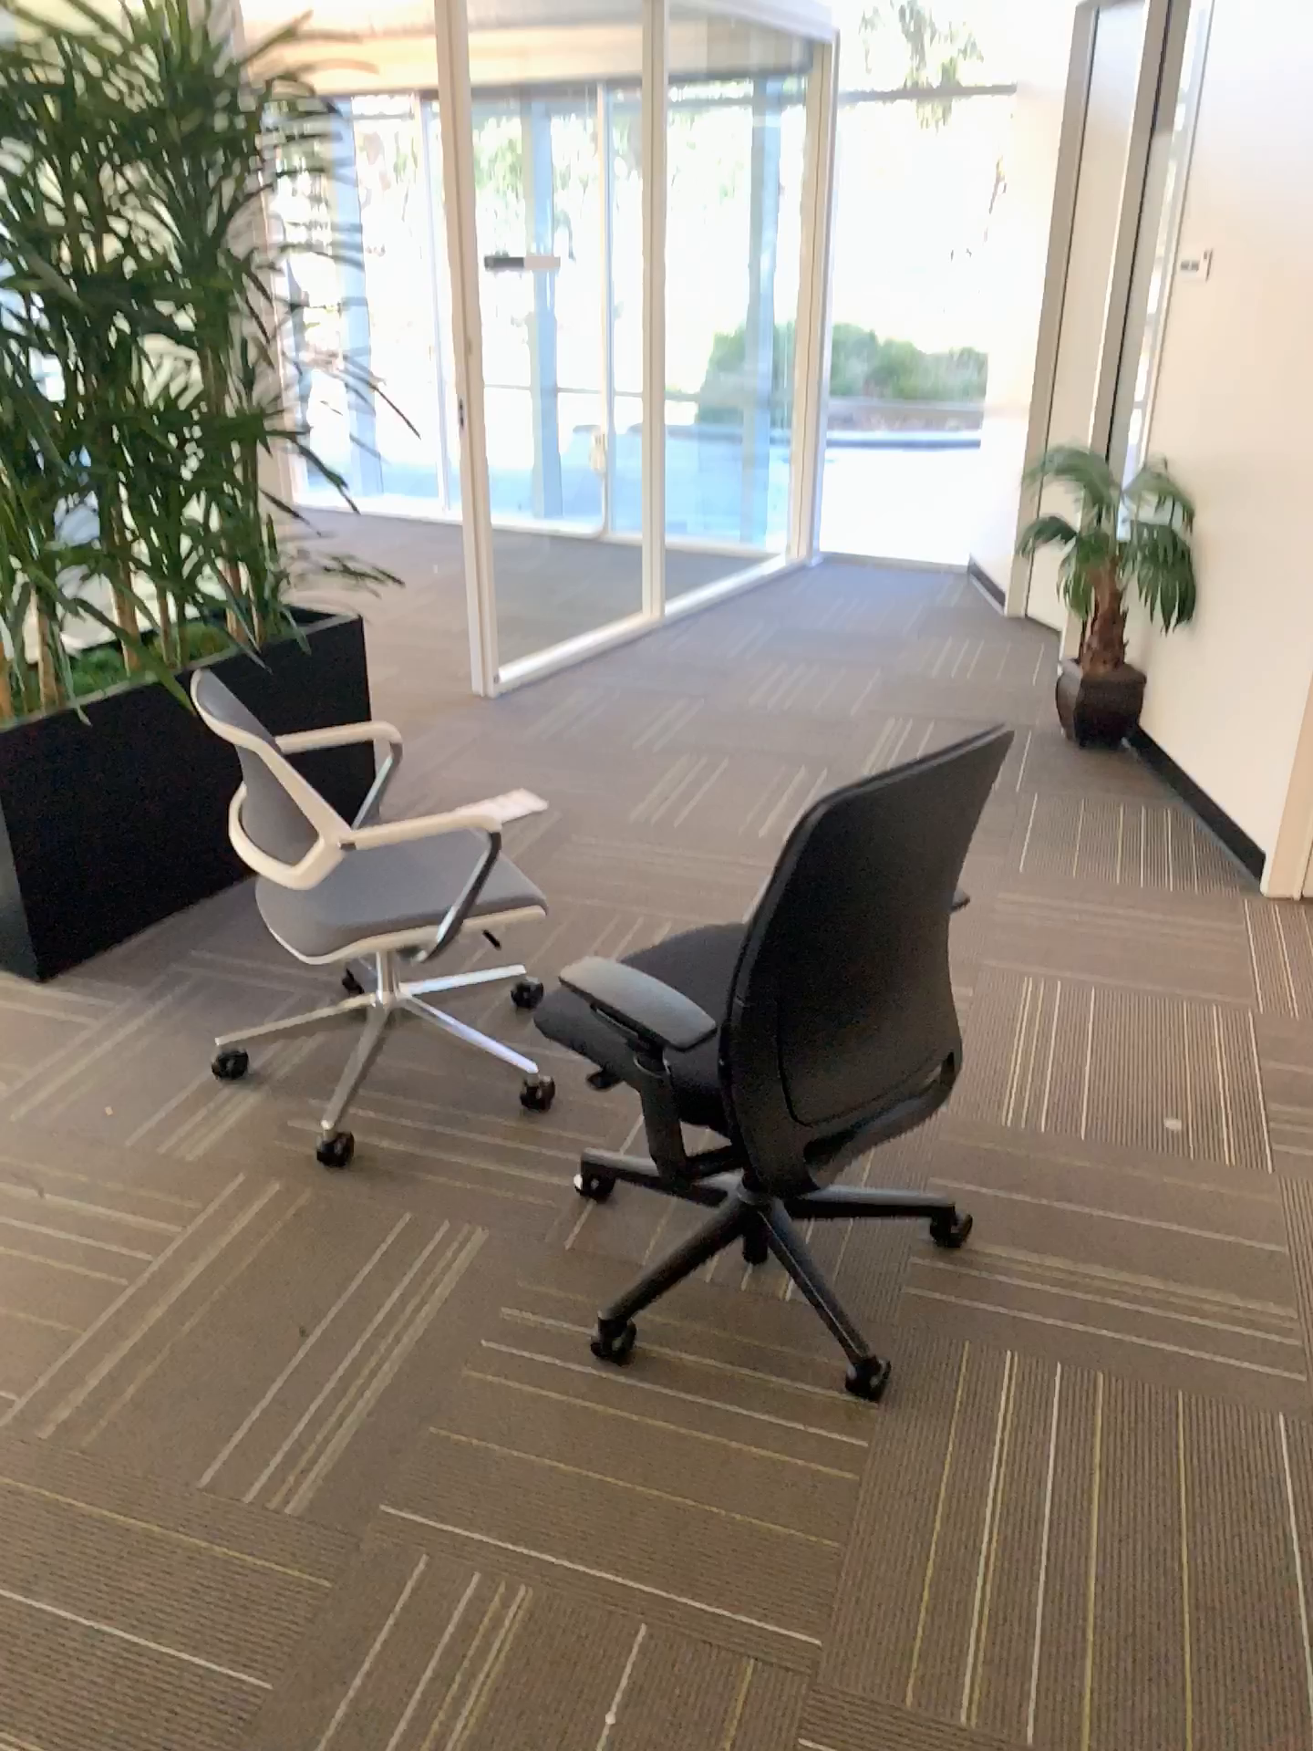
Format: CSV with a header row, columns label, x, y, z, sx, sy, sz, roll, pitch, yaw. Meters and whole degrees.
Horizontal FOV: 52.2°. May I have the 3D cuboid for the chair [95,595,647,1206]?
label,x,y,z,sx,sy,sz,roll,pitch,yaw
chair,-0.559,-0.028,2.648,0.740,0.796,0.844,-15,29,-30

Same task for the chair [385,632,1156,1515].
label,x,y,z,sx,sy,sz,roll,pitch,yaw
chair,0.149,0.203,2.045,0.771,0.885,0.743,-20,32,-37
